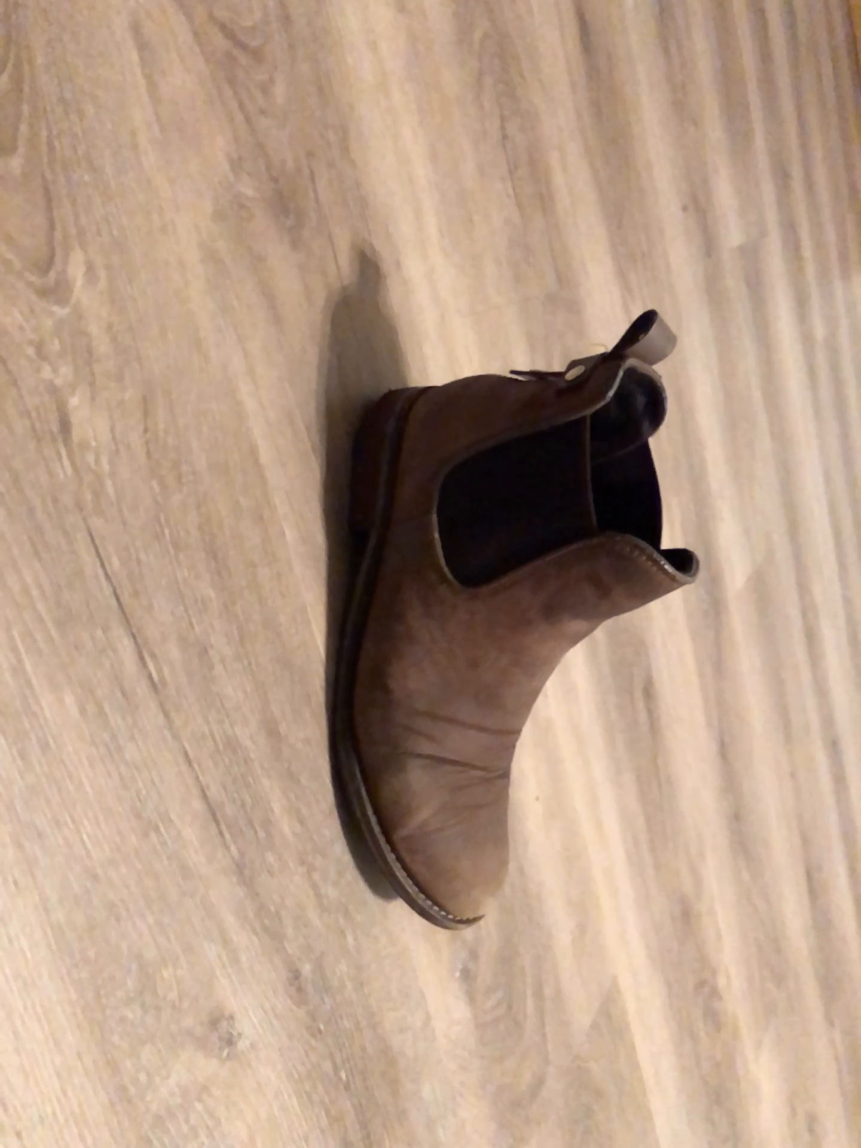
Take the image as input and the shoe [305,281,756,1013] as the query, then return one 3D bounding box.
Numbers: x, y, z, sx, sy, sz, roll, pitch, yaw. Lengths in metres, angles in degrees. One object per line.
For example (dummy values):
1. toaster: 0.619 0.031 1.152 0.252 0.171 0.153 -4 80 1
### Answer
1. shoe: 0.041 0.027 0.394 0.101 0.139 0.240 0 86 -56
